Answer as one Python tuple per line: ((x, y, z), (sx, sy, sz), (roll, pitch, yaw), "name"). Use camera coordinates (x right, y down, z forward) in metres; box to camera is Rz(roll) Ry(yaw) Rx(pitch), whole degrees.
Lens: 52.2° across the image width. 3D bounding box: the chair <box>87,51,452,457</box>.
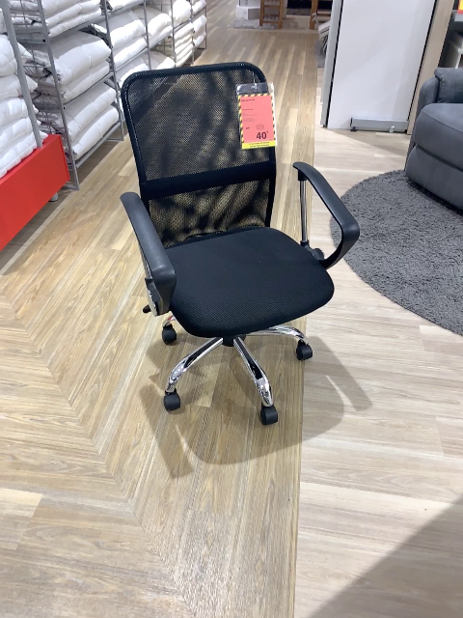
((0.033, -0.175, 1.353), (0.641, 0.865, 0.604), (-13, 41, -17), "chair")
